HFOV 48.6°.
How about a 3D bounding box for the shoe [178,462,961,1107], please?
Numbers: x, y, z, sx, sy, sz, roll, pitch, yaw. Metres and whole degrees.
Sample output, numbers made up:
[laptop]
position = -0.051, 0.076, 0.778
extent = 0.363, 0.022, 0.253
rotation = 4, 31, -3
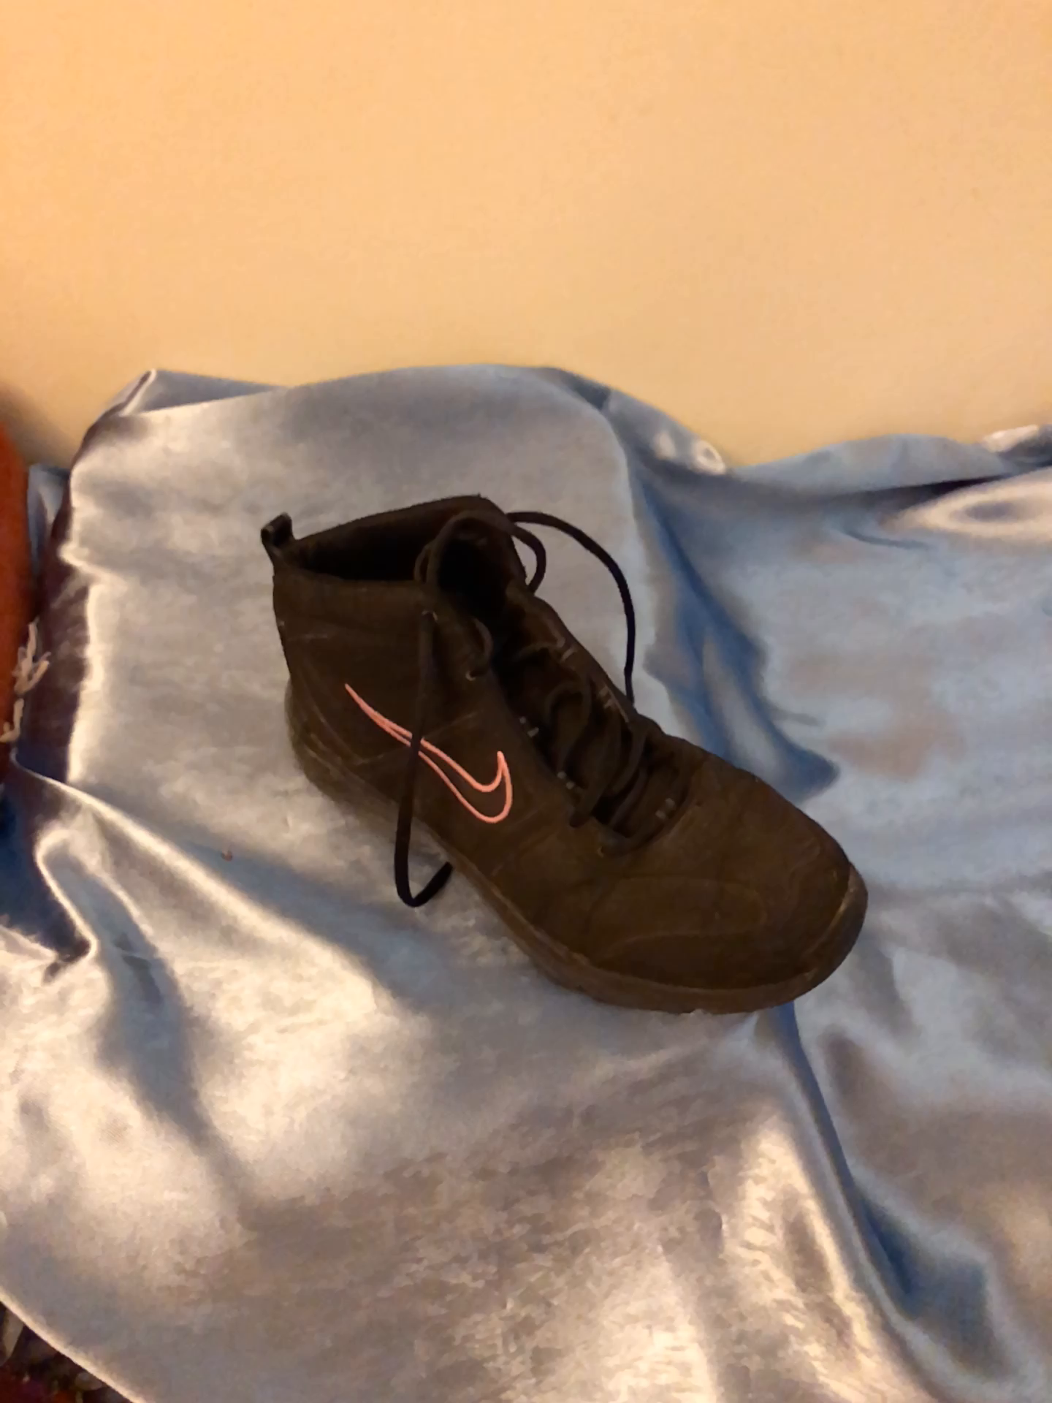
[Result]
[shoe]
position = 0.009, 0.019, 0.446
extent = 0.260, 0.099, 0.108
rotation = 27, 55, 25
